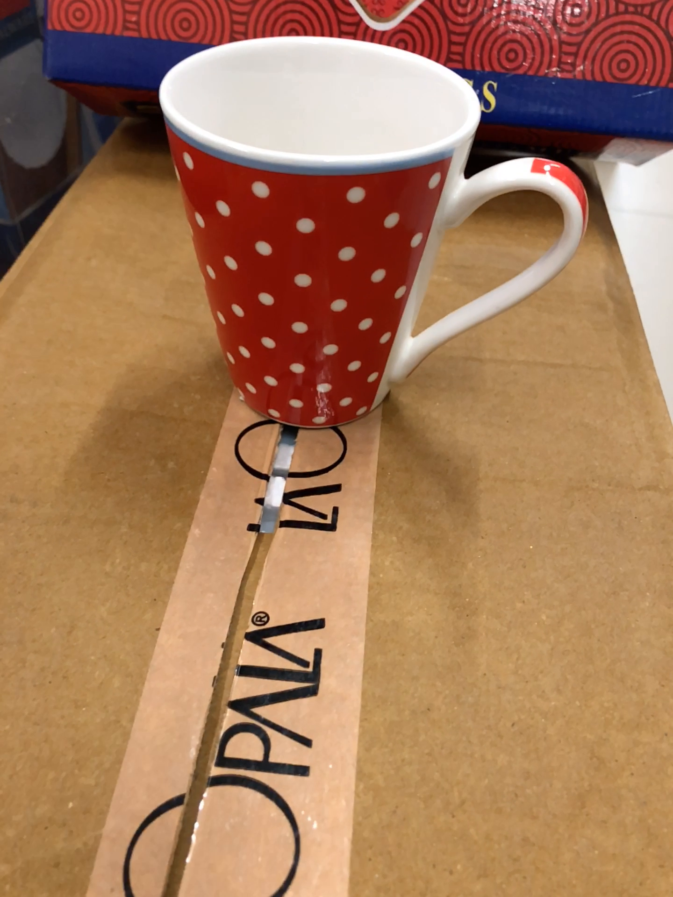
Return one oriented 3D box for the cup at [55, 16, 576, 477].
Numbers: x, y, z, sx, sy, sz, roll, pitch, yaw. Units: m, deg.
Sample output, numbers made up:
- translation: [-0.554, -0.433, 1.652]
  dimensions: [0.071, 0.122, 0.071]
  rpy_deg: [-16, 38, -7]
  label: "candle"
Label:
- translation: [-0.001, -0.062, 0.228]
  dimensions: [0.120, 0.089, 0.081]
  rpy_deg: [12, 45, 7]
  label: "cup"
